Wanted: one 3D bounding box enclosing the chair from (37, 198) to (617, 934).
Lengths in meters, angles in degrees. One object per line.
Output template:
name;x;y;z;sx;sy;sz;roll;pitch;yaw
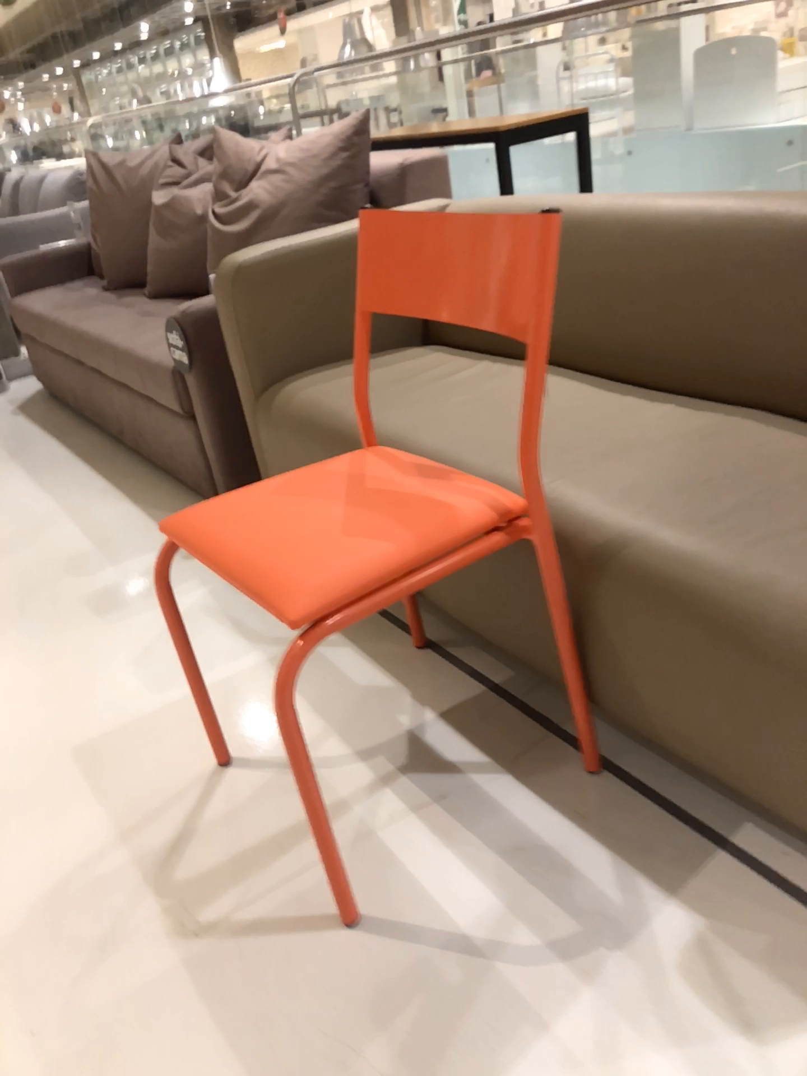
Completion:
chair;-0.082;-0.016;1.248;0.491;0.784;0.503;-24;29;-25
